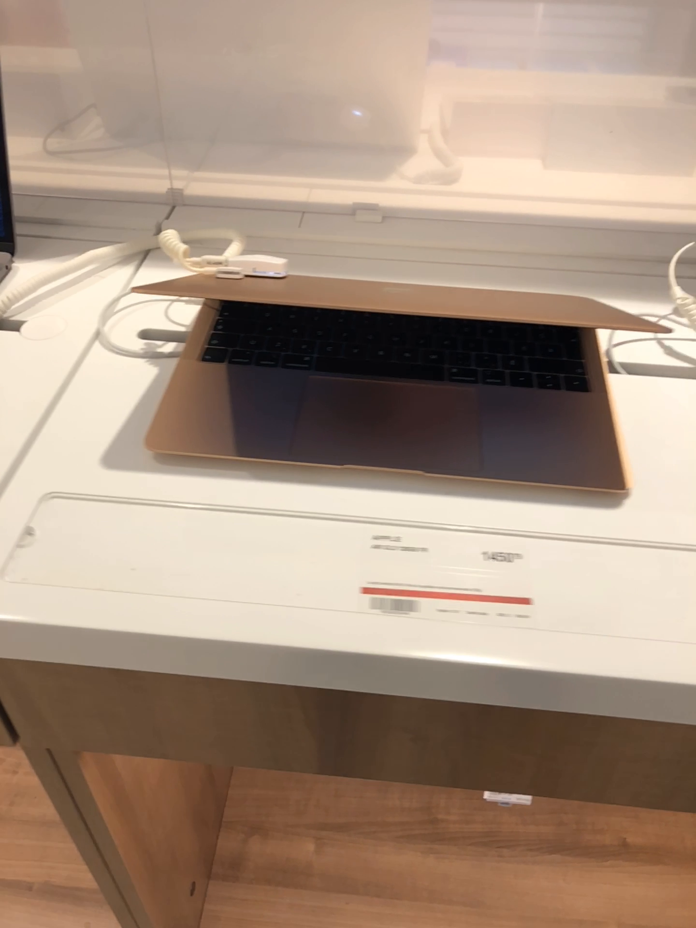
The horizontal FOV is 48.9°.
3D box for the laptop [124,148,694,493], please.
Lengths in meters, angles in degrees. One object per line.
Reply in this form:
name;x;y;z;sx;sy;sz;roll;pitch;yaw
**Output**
laptop;0.030;-0.113;0.518;0.298;0.104;0.226;5;42;6
